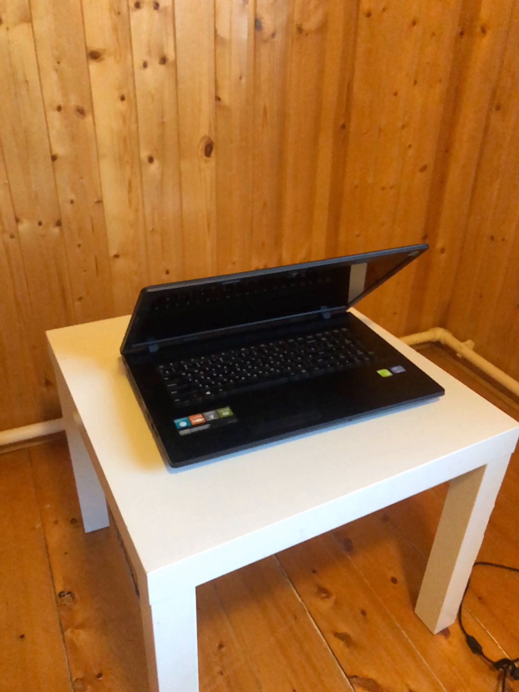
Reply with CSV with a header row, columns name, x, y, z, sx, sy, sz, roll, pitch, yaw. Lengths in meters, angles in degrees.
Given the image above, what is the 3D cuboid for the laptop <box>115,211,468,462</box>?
name,x,y,z,sx,sy,sz,roll,pitch,yaw
laptop,0.035,-0.043,0.794,0.401,0.183,0.252,-11,33,-24
